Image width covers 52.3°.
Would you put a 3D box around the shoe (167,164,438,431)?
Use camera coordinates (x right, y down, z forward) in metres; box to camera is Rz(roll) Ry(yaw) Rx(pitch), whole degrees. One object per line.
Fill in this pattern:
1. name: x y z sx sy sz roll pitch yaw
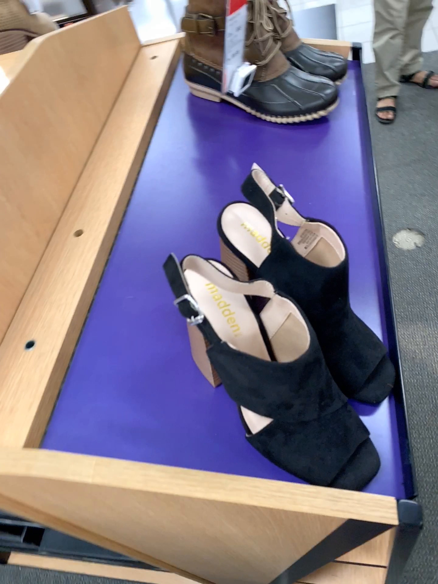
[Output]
1. shoe: 0.067 0.005 0.392 0.221 0.110 0.080 40 72 20

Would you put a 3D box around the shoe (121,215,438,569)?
1. shoe: 0.038 0.072 0.343 0.080 0.140 0.220 -40 75 -14
